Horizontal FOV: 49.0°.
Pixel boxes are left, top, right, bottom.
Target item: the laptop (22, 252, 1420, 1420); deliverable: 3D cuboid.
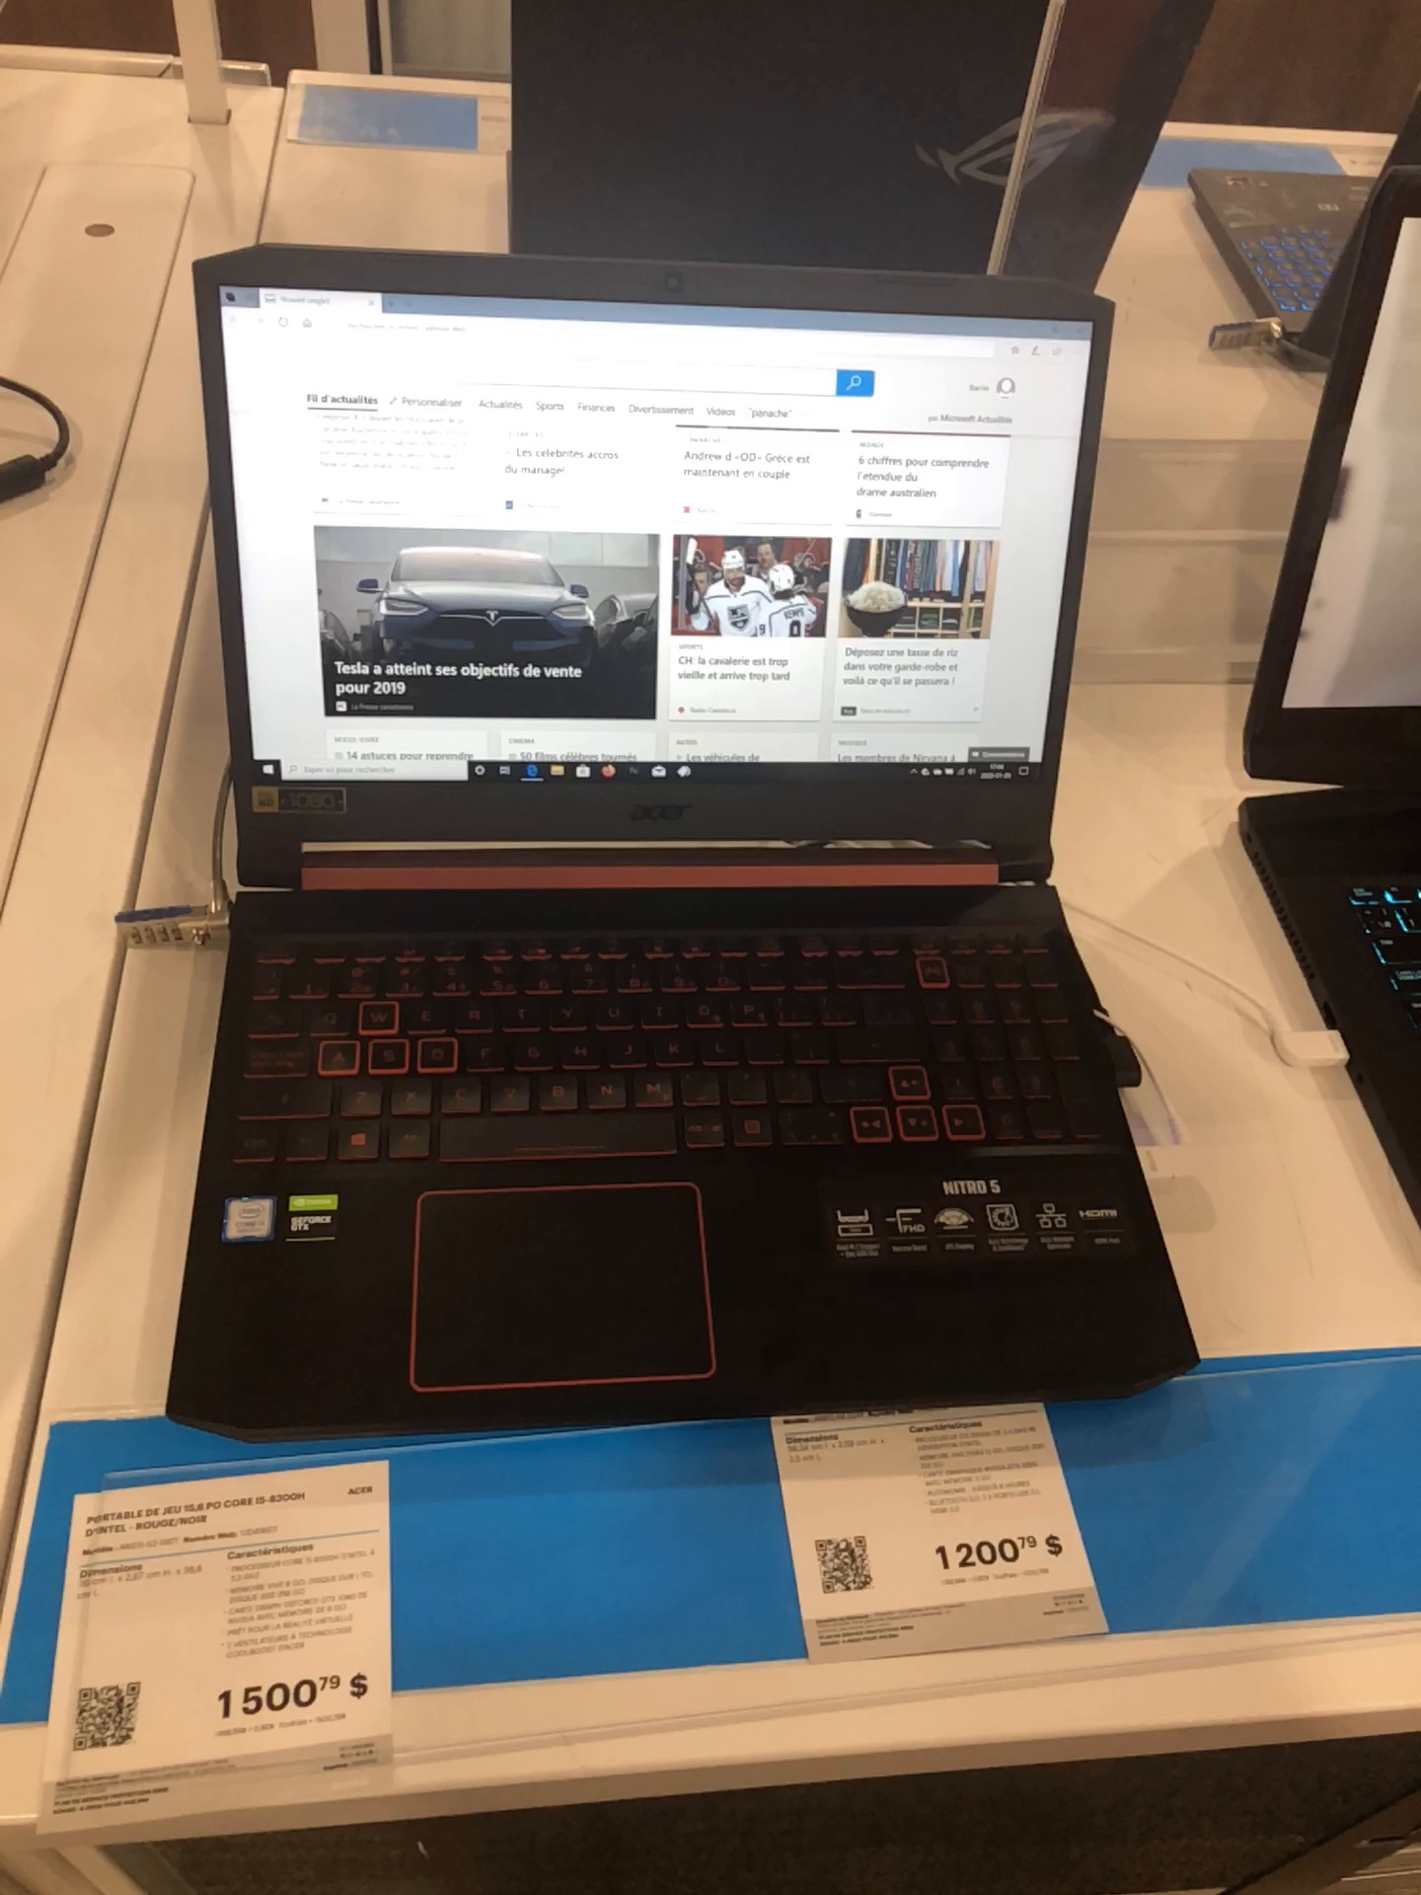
[{"bbox_3d":[-0.007,-0.054,0.573,0.357,0.211,0.360,-1,51,-7],"label":"laptop"}]
